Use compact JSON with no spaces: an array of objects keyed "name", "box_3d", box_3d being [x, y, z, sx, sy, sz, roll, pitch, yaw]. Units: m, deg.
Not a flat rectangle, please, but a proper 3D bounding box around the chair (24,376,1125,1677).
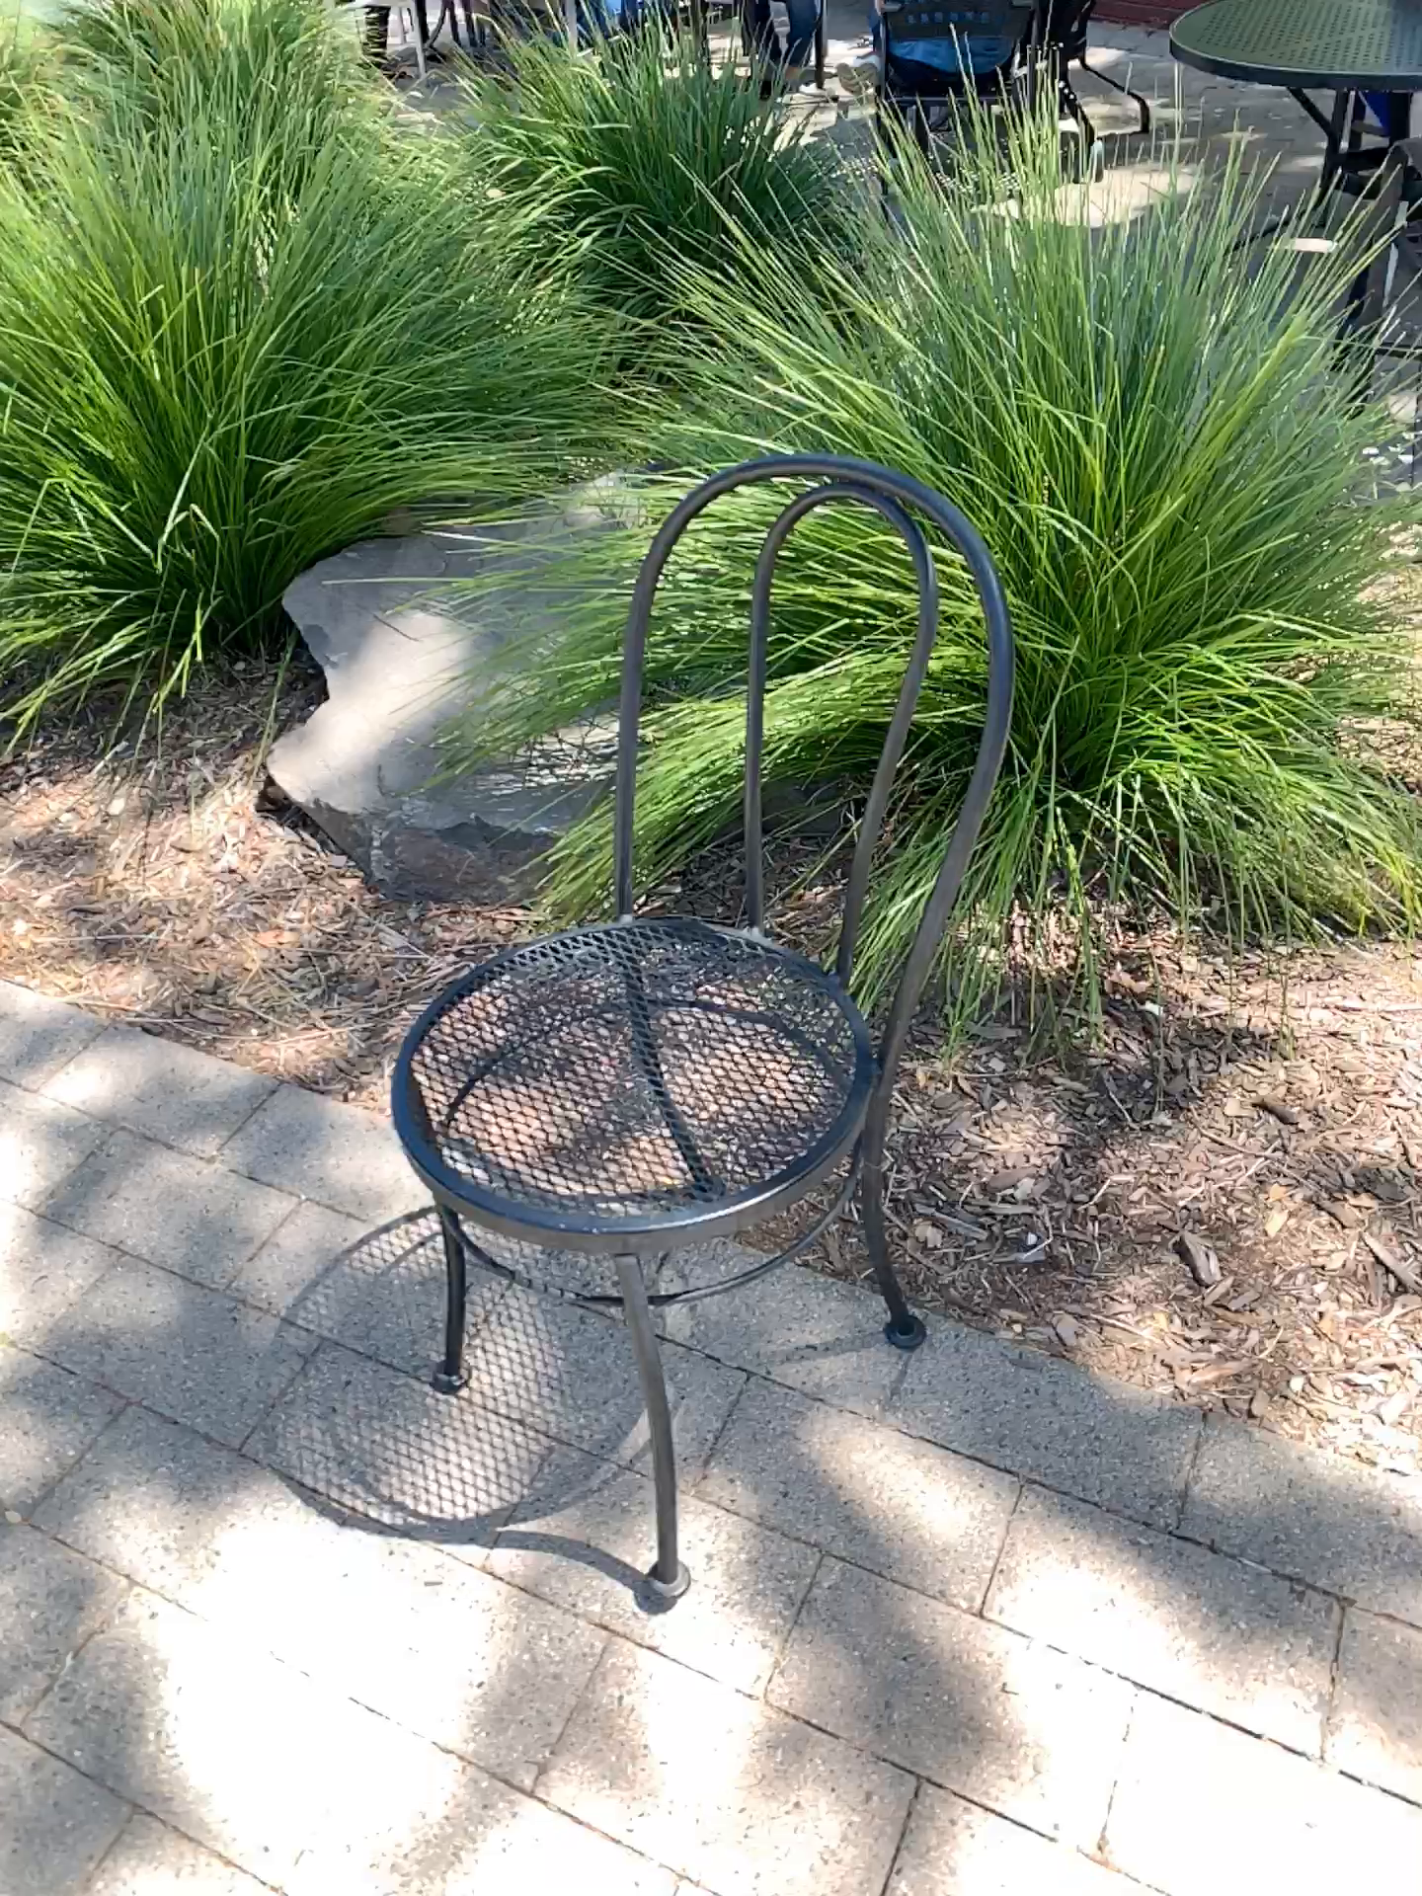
[{"name":"chair","box_3d":[-0.063,0.055,1.200,0.473,0.788,0.538,29,50,33]}]
